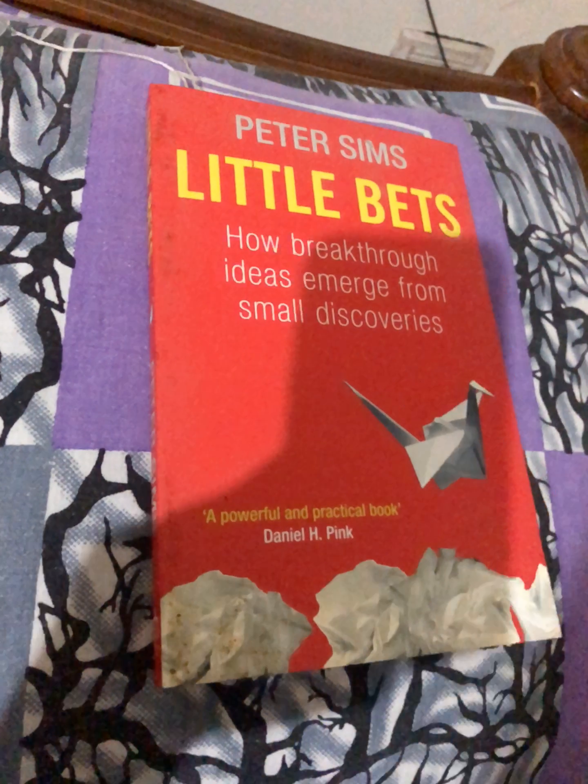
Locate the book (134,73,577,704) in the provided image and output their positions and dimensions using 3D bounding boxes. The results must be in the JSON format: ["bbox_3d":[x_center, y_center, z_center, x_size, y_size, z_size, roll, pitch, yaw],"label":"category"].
[{"bbox_3d":[0.015,-0.017,0.264,0.150,0.020,0.240,2,67,-19],"label":"book"}]
